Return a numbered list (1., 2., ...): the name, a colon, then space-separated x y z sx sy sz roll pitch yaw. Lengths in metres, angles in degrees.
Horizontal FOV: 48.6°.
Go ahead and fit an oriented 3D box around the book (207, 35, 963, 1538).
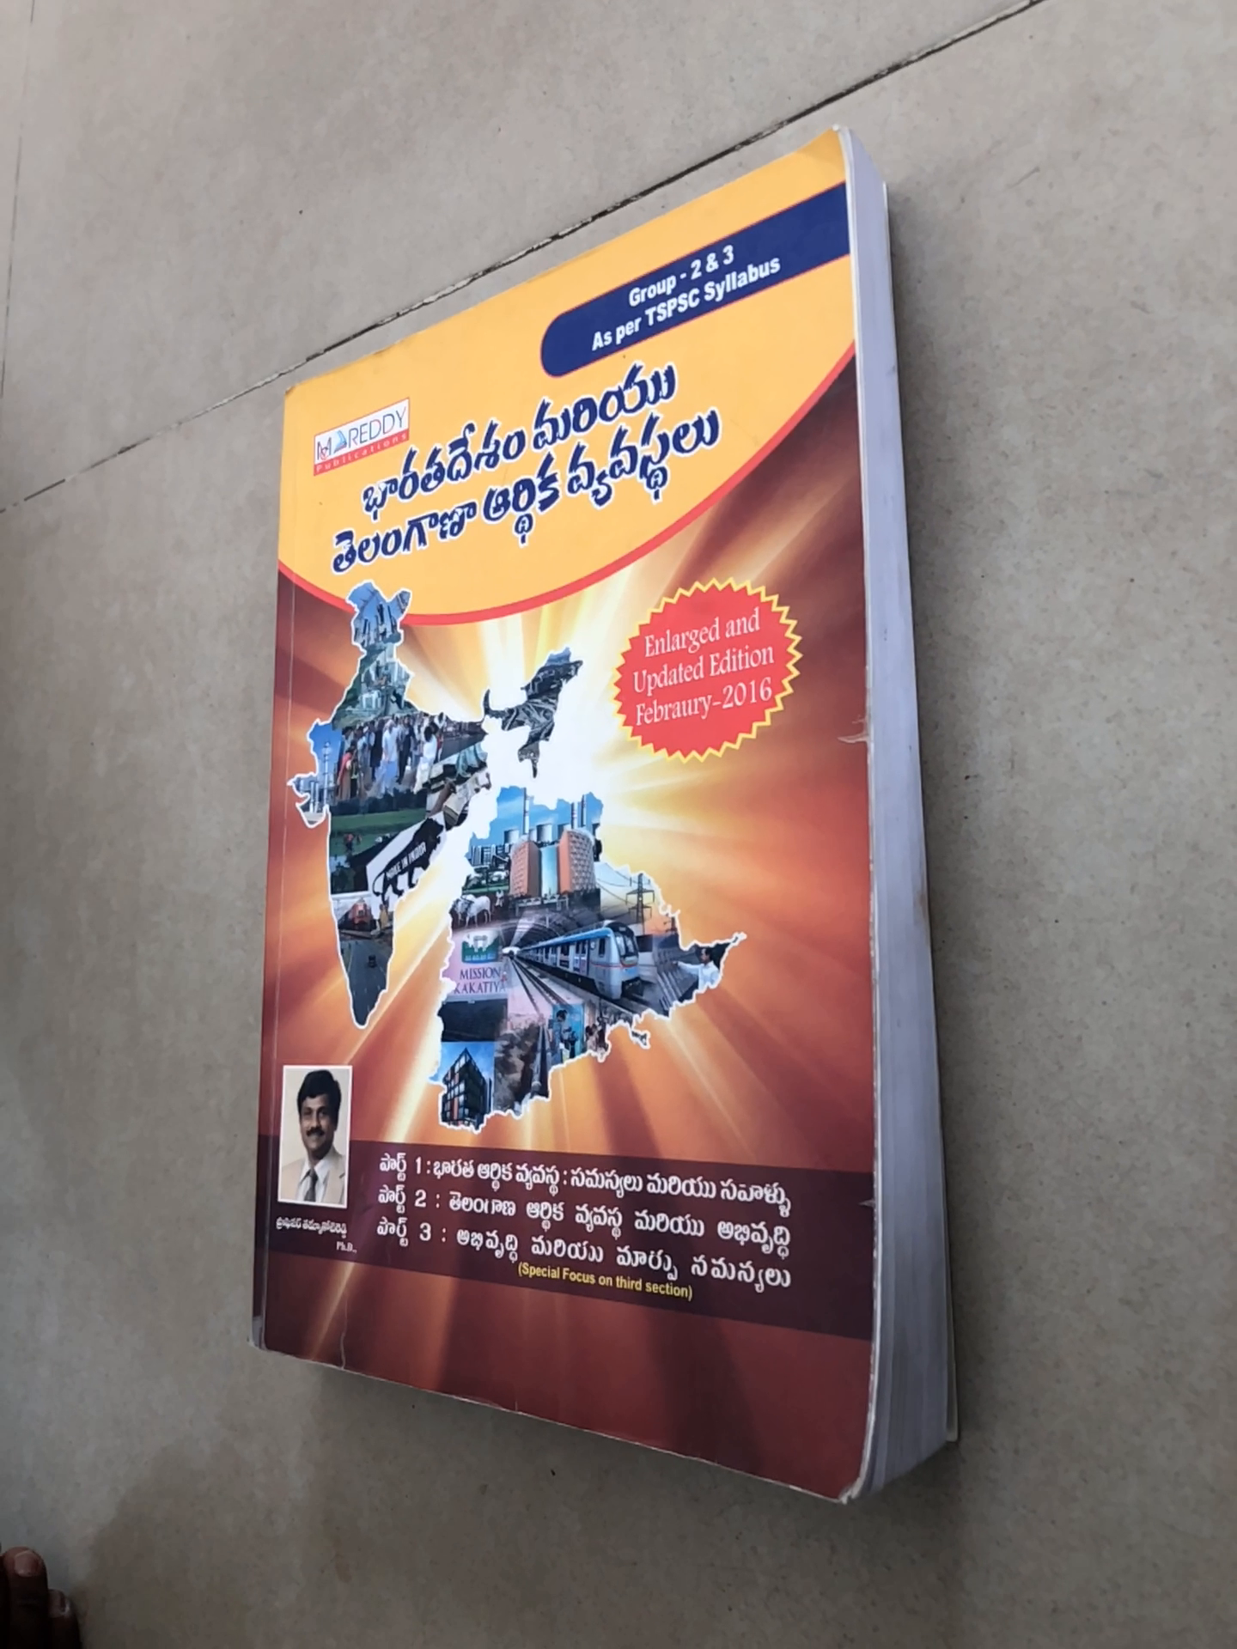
1. book: -0.022 -0.008 0.321 0.191 0.030 0.280 -8 78 38
